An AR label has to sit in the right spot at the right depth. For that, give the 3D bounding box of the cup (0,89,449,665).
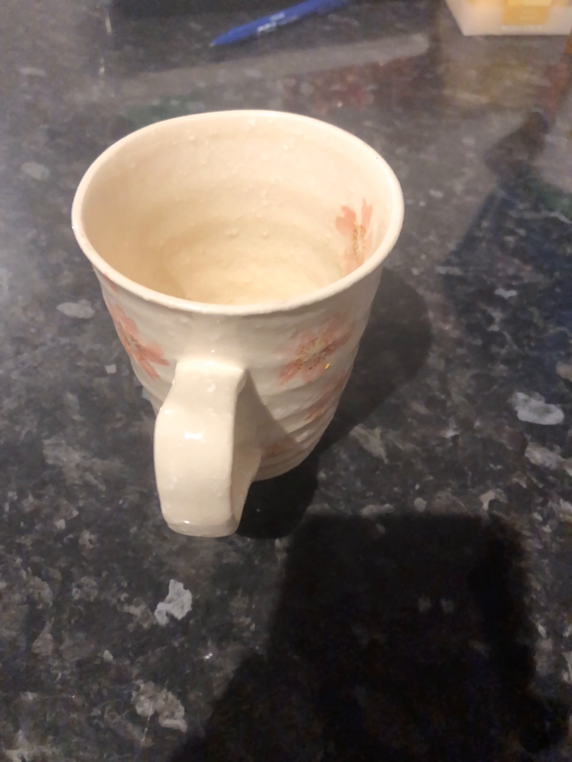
[{"bbox_3d":[-0.013,-0.003,0.189,0.090,0.099,0.131,4,51,2],"label":"cup"}]
